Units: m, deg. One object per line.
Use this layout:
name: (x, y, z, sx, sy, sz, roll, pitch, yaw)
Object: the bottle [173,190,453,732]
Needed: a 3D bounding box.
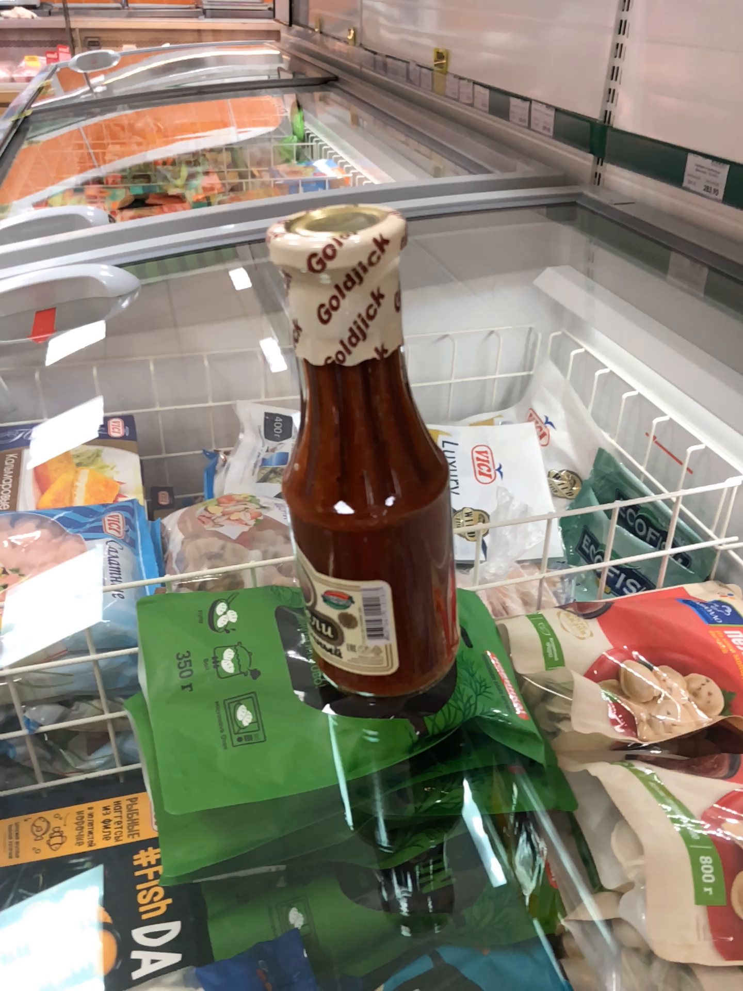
bottle: (-0.017, -0.009, 0.304, 0.070, 0.179, 0.070, -4, 33, 2)
